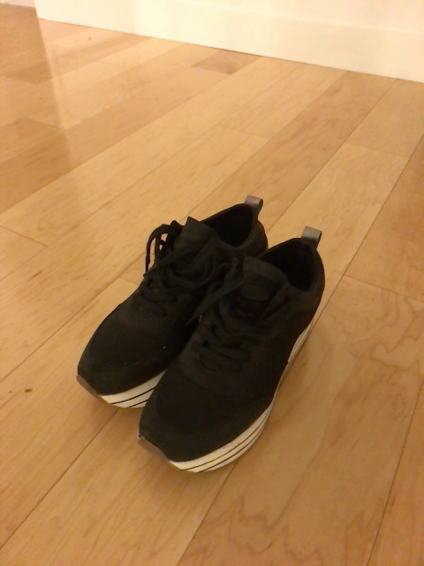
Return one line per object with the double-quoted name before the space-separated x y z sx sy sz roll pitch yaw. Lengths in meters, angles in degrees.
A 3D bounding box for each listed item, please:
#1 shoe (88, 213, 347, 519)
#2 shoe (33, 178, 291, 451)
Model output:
"shoe" 0.026 0.057 0.472 0.120 0.099 0.292 20 45 22
"shoe" -0.031 0.010 0.507 0.120 0.109 0.292 20 45 22
